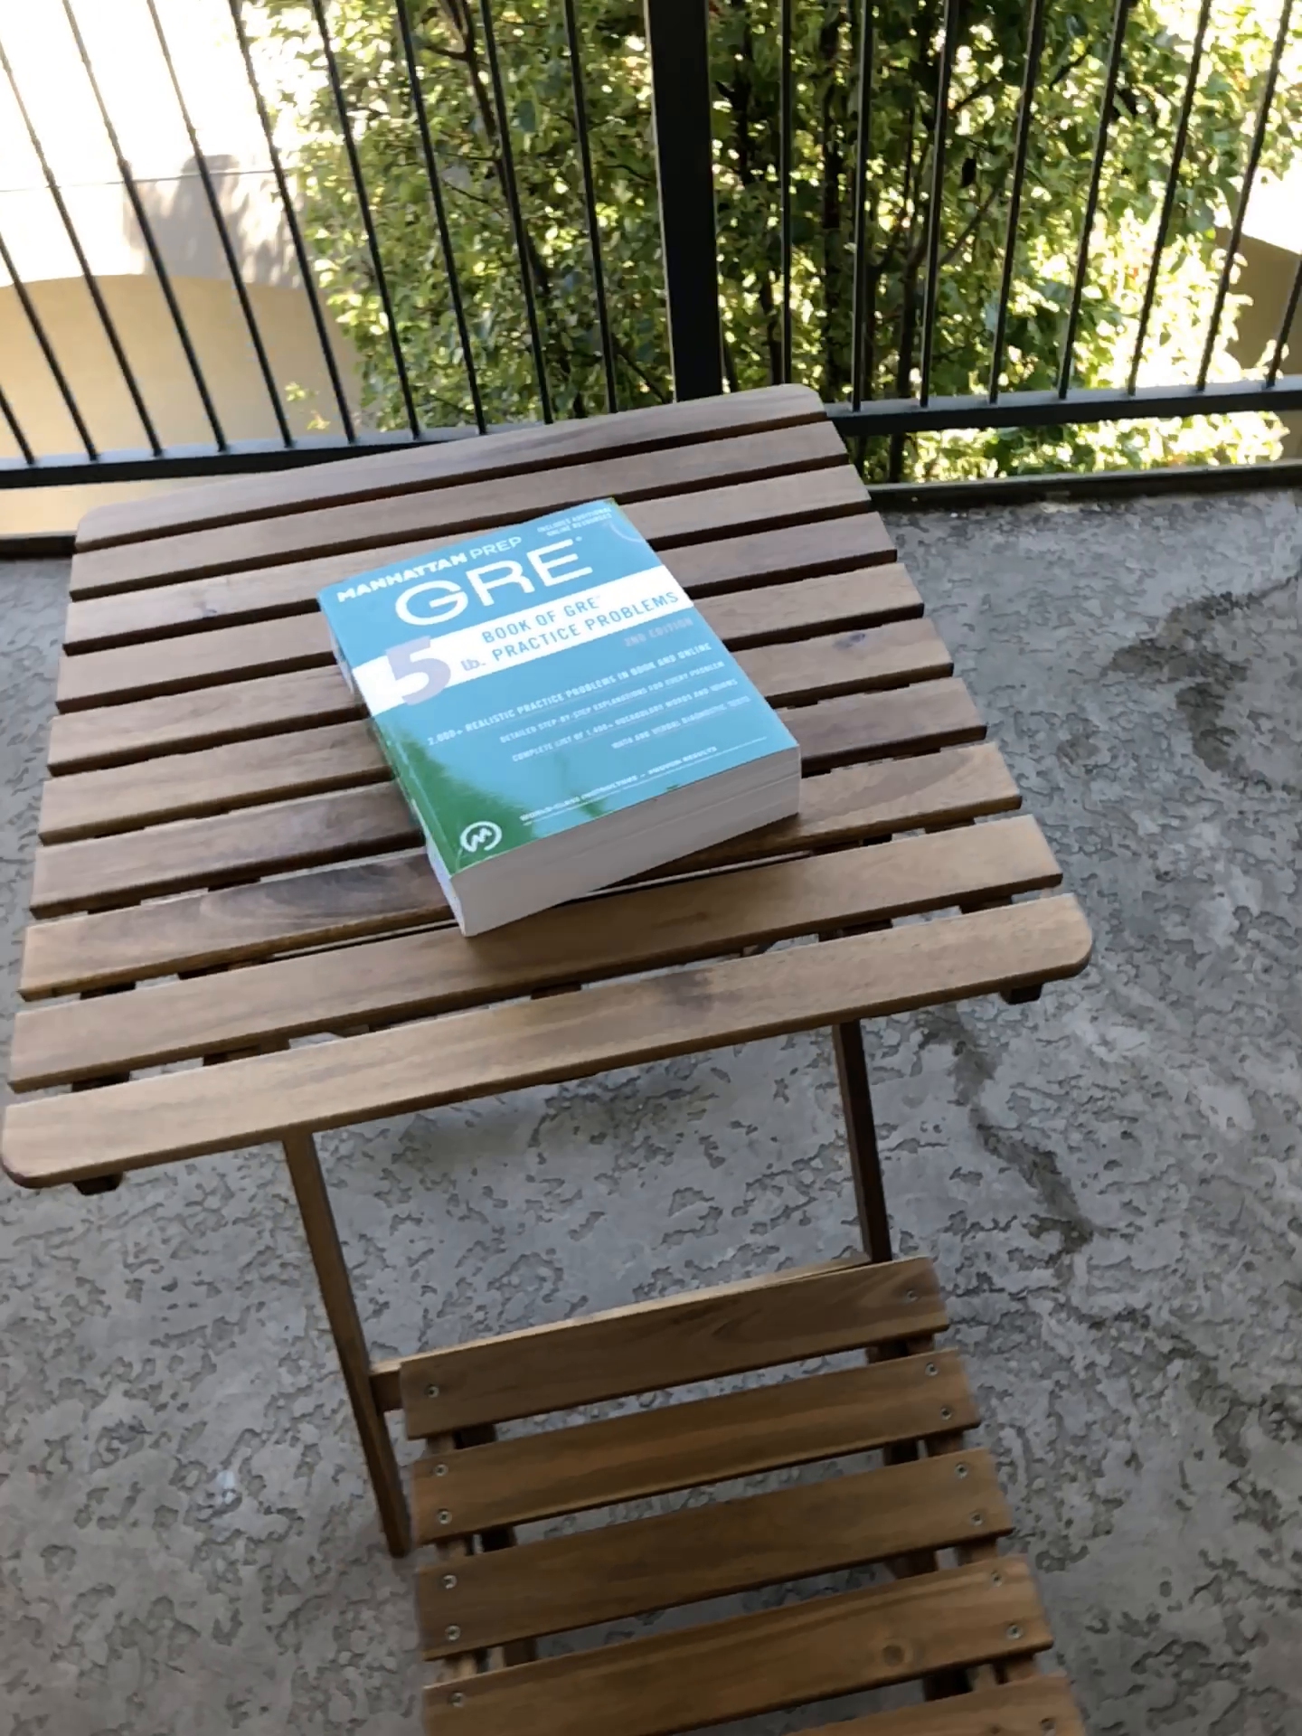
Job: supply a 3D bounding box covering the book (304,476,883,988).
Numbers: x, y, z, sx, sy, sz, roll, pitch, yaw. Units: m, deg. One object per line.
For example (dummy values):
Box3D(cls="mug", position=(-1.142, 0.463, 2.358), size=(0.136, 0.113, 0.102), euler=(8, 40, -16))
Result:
Box3D(cls="book", position=(-0.046, -0.102, 0.893), size=(0.250, 0.060, 0.311), euler=(-21, 51, -13))
